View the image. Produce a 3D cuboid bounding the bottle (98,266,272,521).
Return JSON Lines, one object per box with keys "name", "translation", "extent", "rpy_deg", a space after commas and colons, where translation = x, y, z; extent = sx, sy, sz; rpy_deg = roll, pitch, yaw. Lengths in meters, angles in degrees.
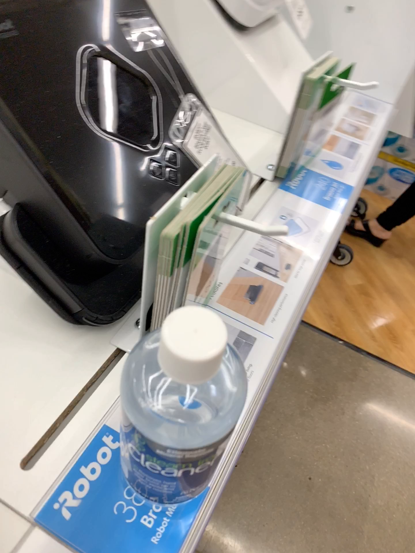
{"name": "bottle", "translation": [-0.016, 0.066, 0.212], "extent": [0.060, 0.129, 0.060], "rpy_deg": [7, 45, -7]}
